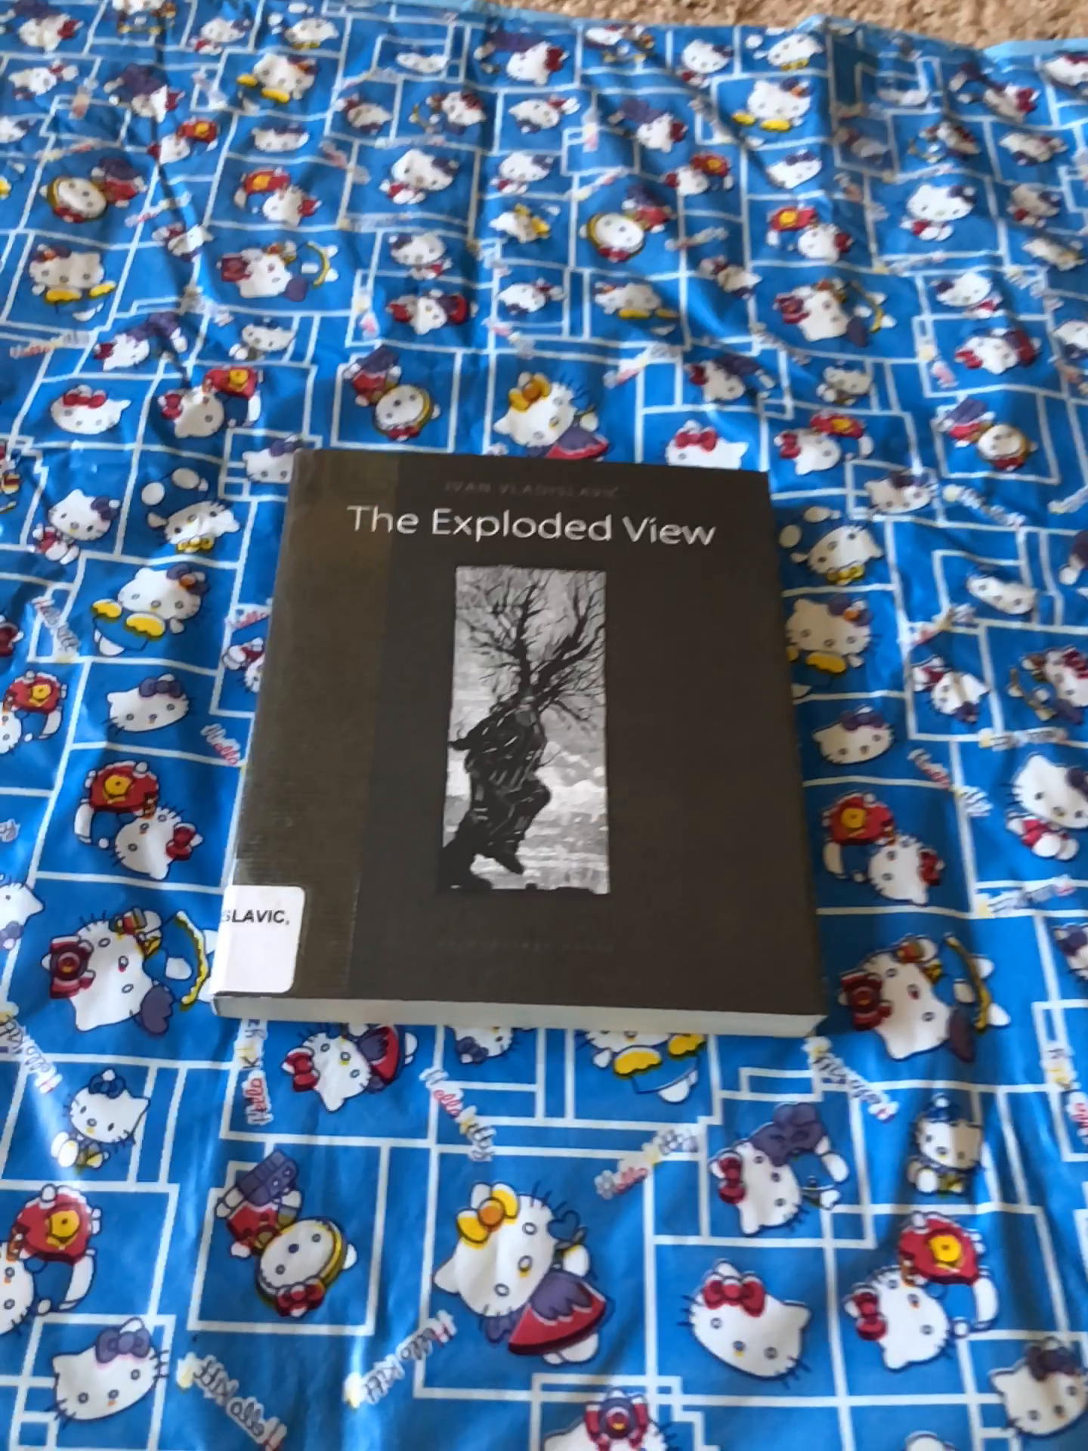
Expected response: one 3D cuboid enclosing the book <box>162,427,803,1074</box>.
[{"bbox_3d":[-0.011,-0.001,0.315,0.140,0.020,0.170,3,62,-2],"label":"book"}]
